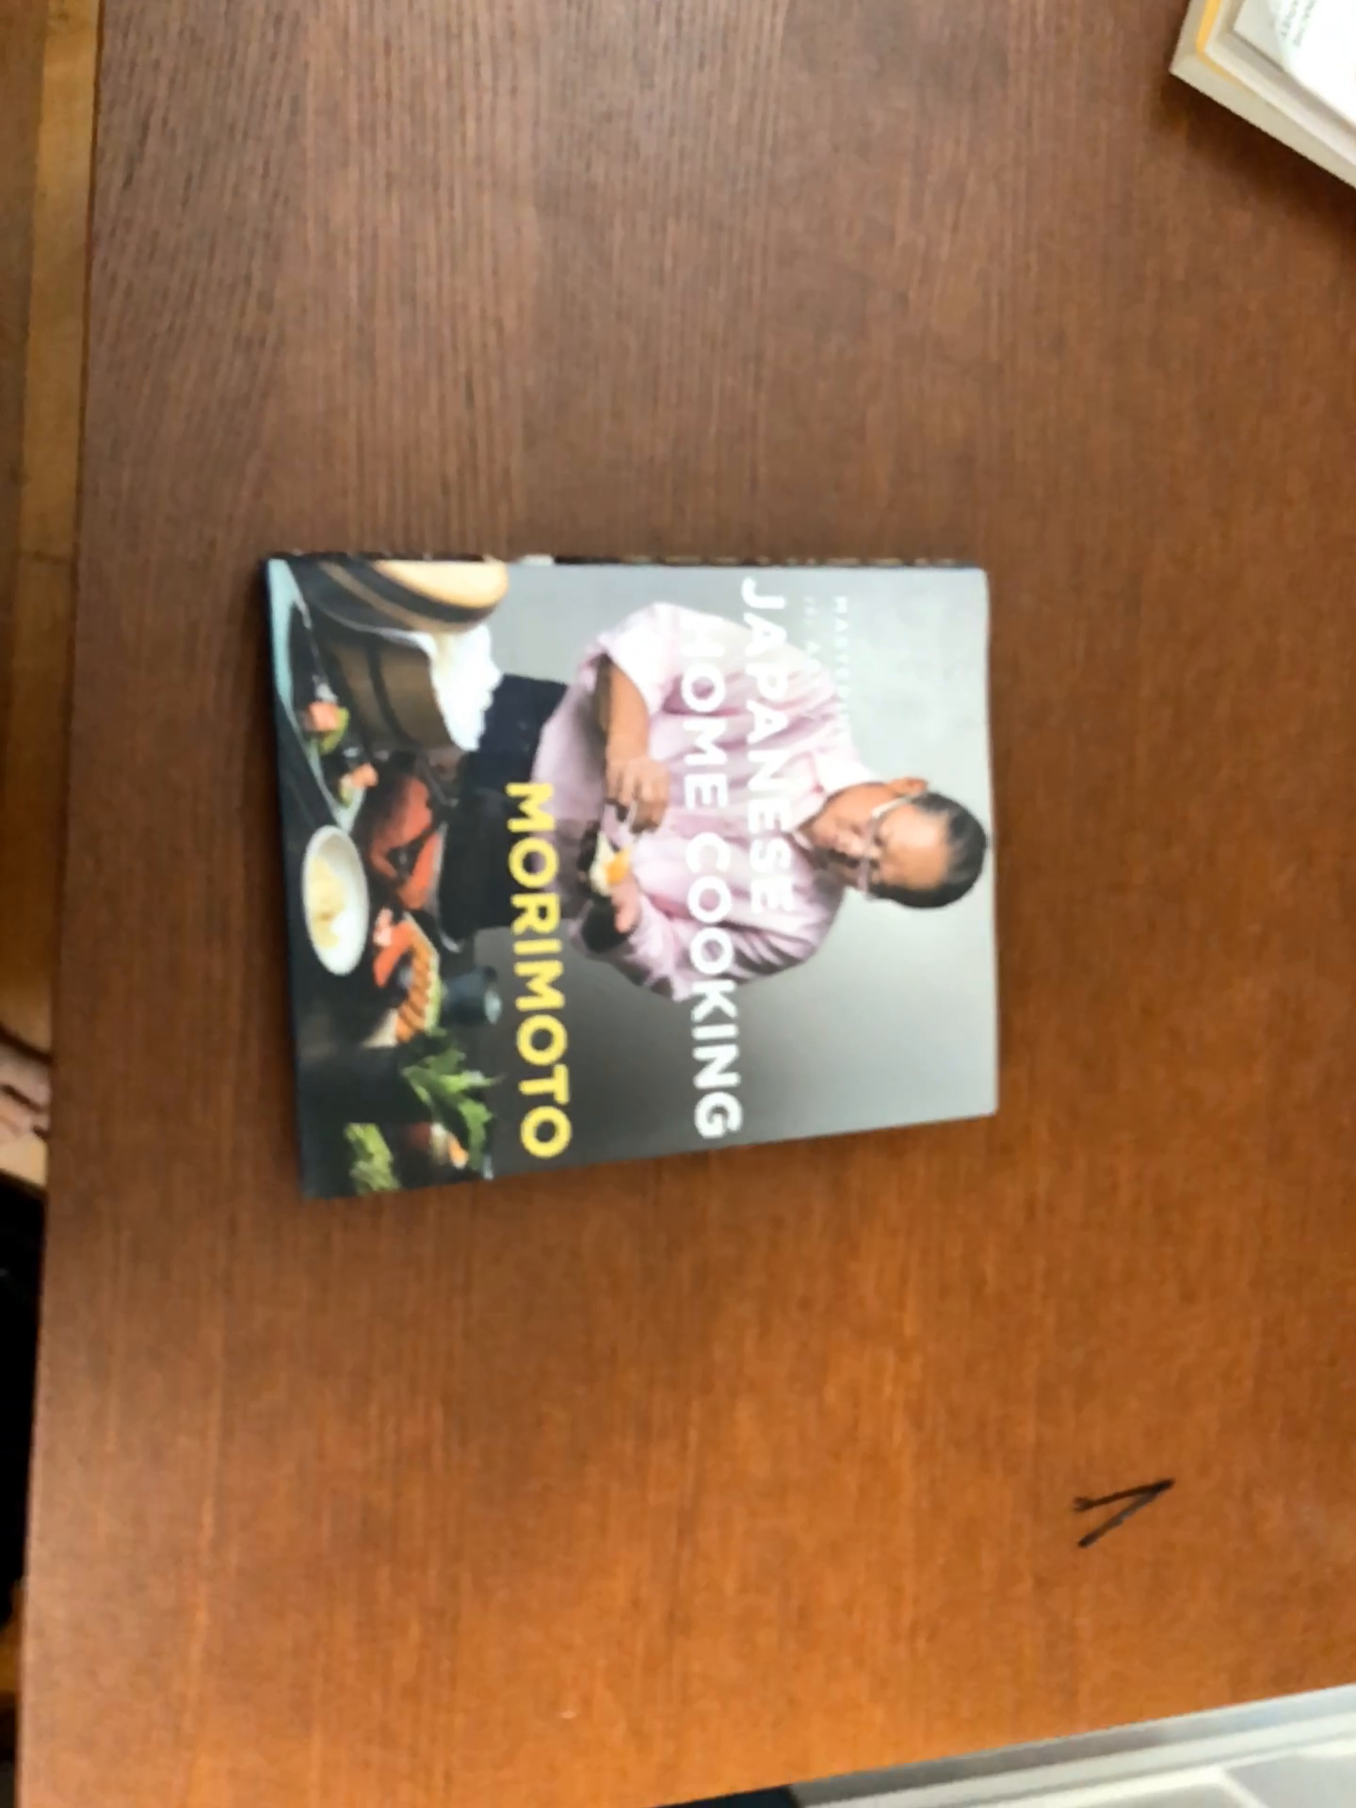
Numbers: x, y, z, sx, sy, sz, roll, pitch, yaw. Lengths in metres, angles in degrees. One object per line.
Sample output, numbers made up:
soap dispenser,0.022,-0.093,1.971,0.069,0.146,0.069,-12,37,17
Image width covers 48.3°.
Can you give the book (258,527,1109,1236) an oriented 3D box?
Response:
book,0.015,-0.015,0.533,0.300,0.030,0.220,-4,94,-20
